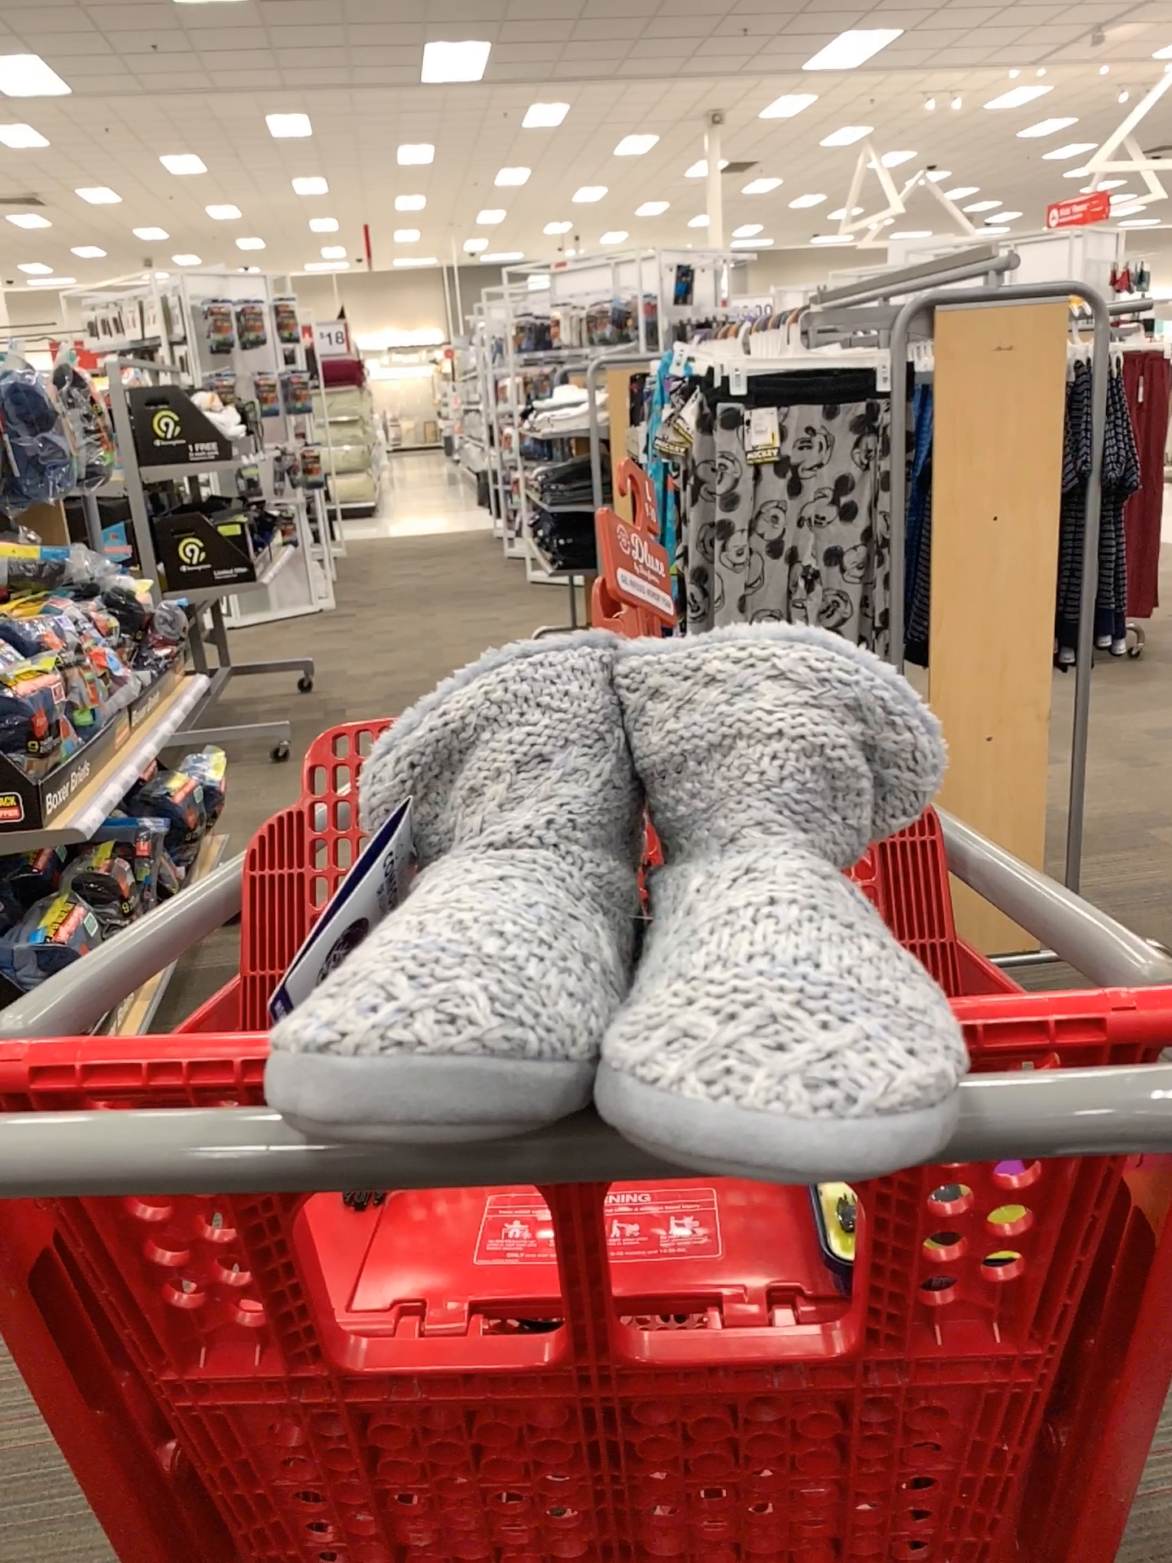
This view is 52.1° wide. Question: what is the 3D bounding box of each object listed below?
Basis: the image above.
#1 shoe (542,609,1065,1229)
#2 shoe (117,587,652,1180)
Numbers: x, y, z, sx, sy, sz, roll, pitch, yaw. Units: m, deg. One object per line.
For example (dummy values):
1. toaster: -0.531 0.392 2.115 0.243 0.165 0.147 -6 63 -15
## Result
1. shoe: 0.064 0.018 0.380 0.110 0.120 0.231 -1 13 9
2. shoe: -0.045 0.011 0.437 0.110 0.140 0.251 -1 13 9
